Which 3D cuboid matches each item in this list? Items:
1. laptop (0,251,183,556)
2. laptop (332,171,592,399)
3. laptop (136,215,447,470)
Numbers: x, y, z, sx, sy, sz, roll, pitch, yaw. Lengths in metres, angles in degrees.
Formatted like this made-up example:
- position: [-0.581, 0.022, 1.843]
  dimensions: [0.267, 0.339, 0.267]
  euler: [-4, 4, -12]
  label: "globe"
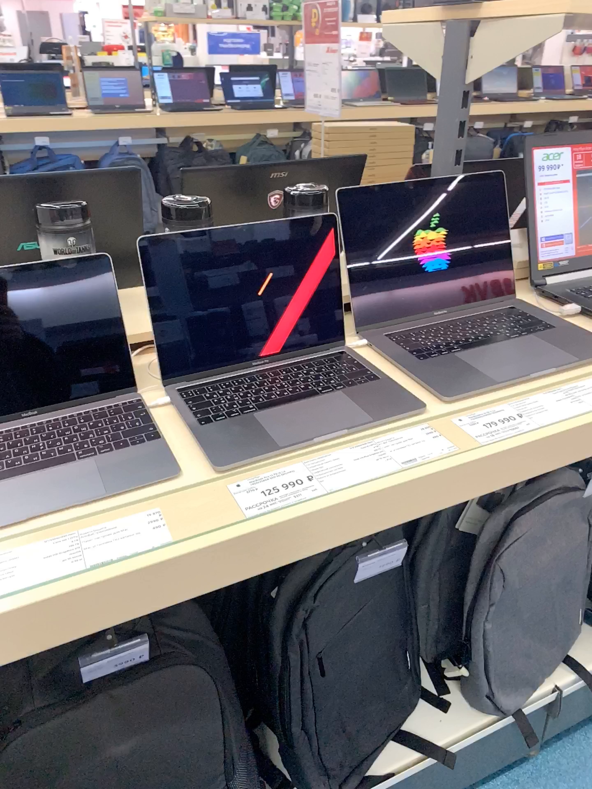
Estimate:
- position: [-0.311, -0.019, 0.687]
  dimensions: [0.280, 0.172, 0.266]
  euler: [-14, 34, -24]
  label: "laptop"
- position: [0.291, -0.200, 0.963]
  dimensions: [0.346, 0.210, 0.328]
  euler: [-14, 33, -22]
  label: "laptop"
- position: [-0.016, -0.092, 0.798]
  dimensions: [0.299, 0.195, 0.261]
  euler: [-14, 33, -24]
  label: "laptop"
